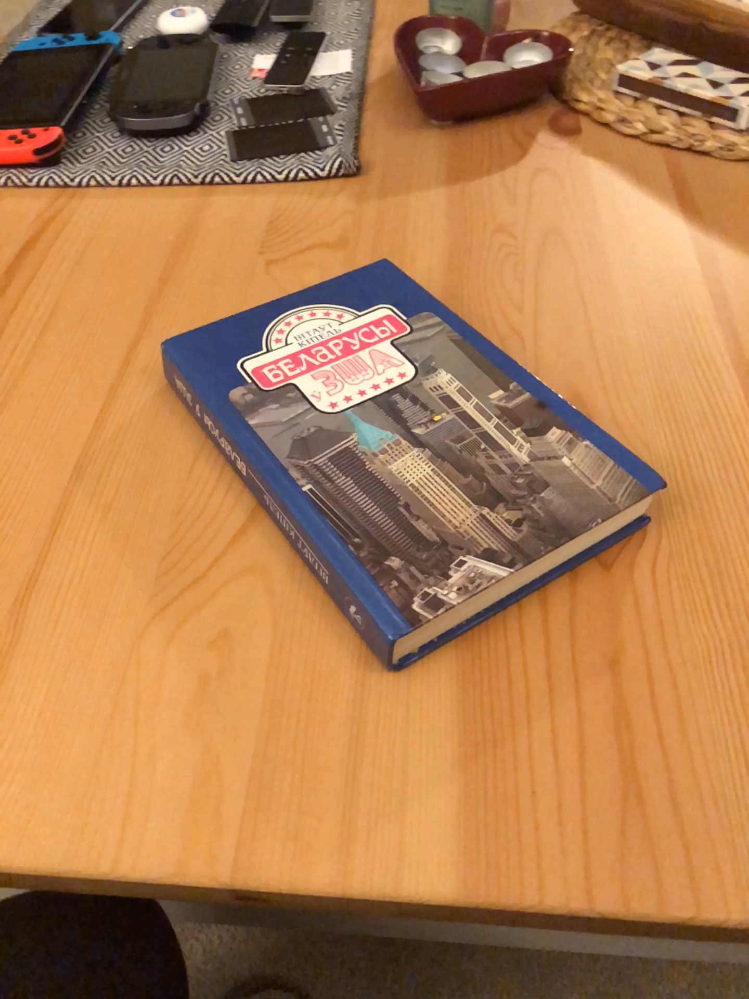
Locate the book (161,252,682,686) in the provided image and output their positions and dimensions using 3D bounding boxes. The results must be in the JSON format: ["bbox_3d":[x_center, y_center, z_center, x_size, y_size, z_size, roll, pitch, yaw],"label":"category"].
[{"bbox_3d":[0.011,-0.036,0.406,0.146,0.030,0.225,-26,52,-21],"label":"book"}]
